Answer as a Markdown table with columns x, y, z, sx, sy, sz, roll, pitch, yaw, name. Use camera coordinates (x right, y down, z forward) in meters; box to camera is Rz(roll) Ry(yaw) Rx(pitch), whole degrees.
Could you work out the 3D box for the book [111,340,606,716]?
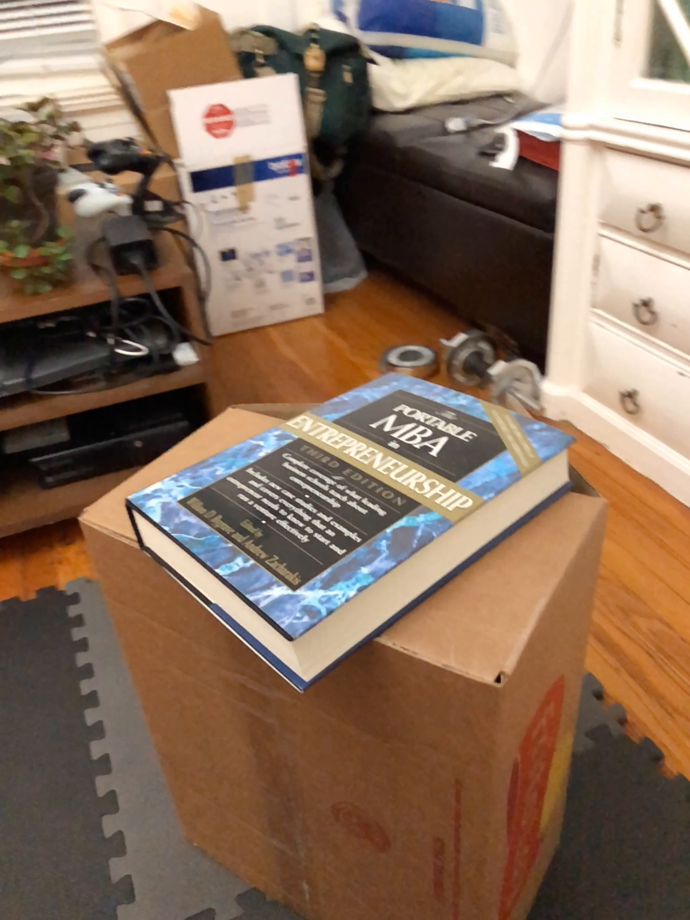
| x | y | z | sx | sy | sz | roll | pitch | yaw | name |
| --- | --- | --- | --- | --- | --- | --- | --- | --- | --- |
| 0.013 | 0.018 | 0.536 | 0.271 | 0.060 | 0.211 | -31 | 40 | -31 | book |
